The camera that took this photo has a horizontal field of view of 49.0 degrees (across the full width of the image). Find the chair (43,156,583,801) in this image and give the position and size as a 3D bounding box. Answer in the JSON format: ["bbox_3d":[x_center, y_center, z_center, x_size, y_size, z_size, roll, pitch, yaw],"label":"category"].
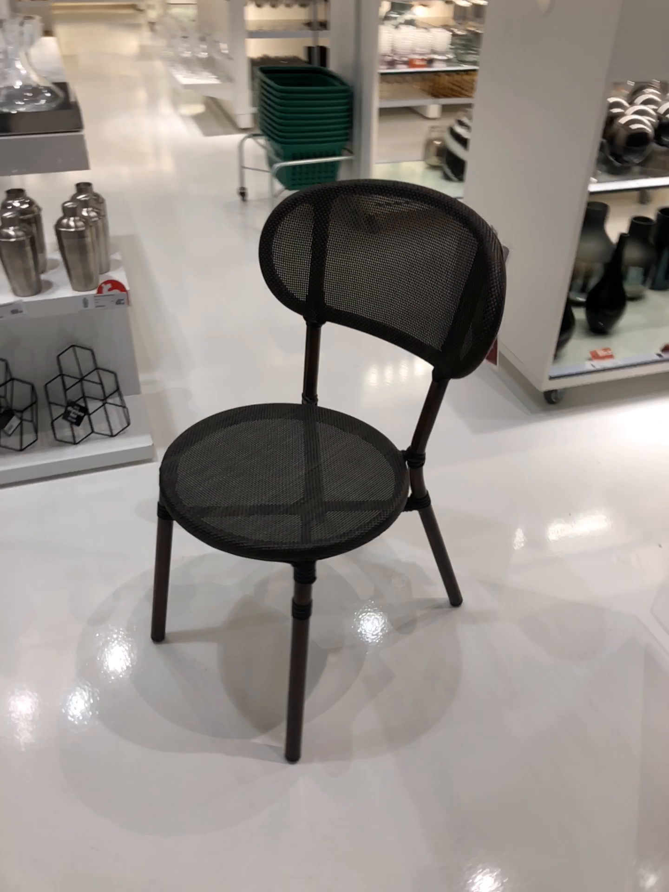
[{"bbox_3d":[-0.019,0.022,1.202,0.471,0.764,0.553,28,44,32],"label":"chair"}]
